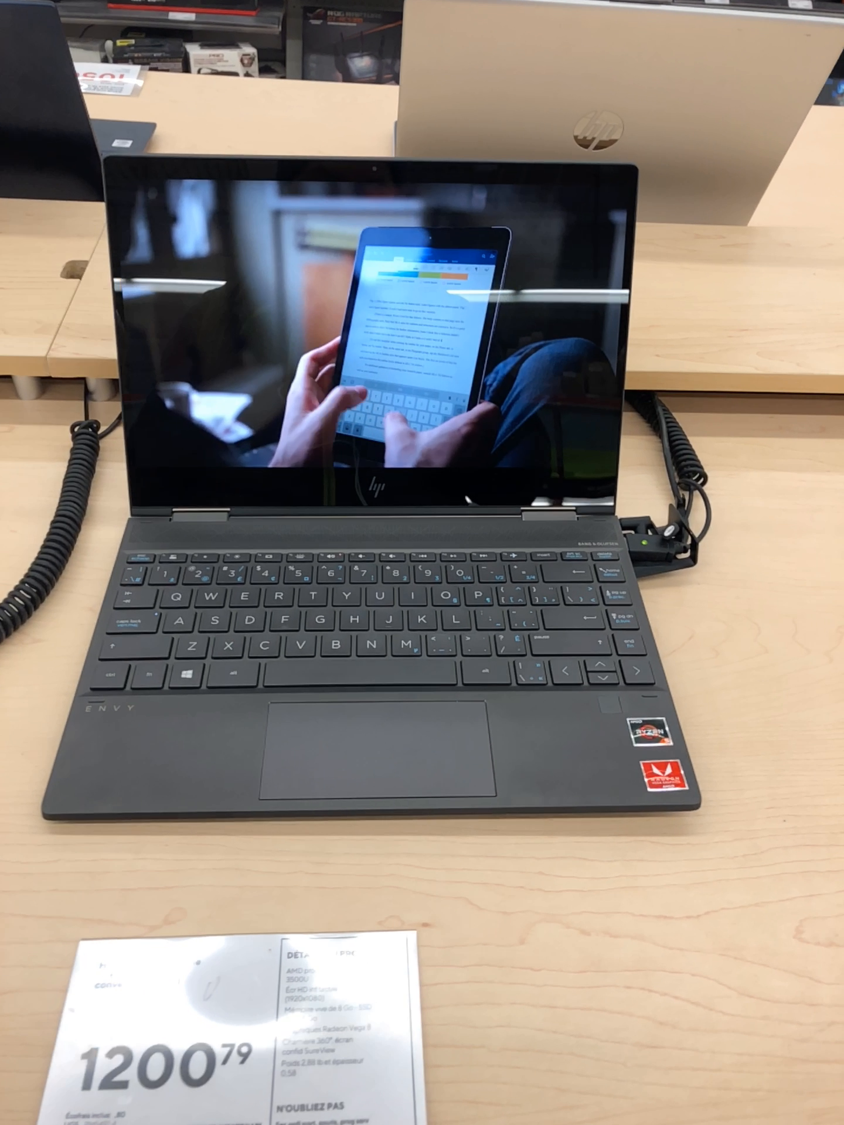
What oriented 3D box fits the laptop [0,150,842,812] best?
[{"bbox_3d":[-0.020,-0.054,0.469,0.294,0.182,0.289,0,44,-5],"label":"laptop"}]
